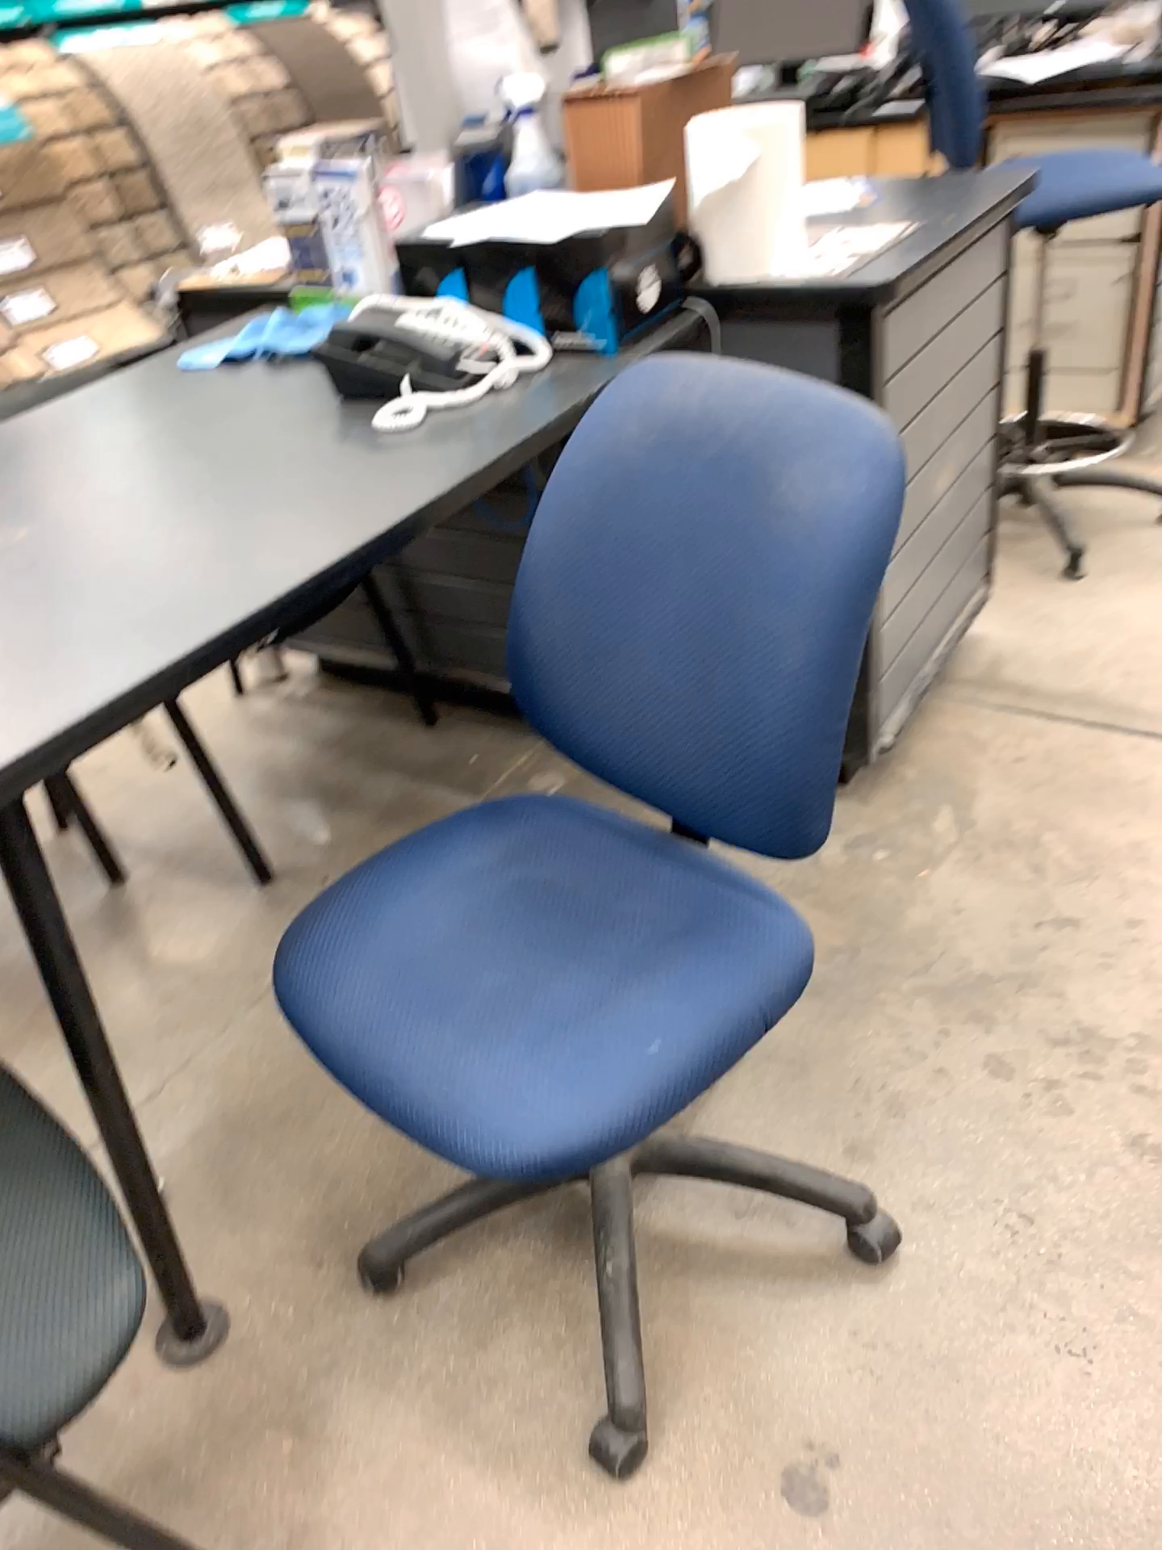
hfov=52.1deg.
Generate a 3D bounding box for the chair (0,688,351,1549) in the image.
[{"bbox_3d":[-0.653,0.473,0.973,0.542,0.800,0.569,-29,38,-28],"label":"chair"}]

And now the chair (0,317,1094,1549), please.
[{"bbox_3d":[-0.006,0.095,1.232,0.699,0.889,0.662,23,45,39],"label":"chair"}]

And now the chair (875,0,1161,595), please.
[{"bbox_3d":[1.041,-1.165,2.629,0.701,1.228,0.851,-2,34,11],"label":"chair"}]
